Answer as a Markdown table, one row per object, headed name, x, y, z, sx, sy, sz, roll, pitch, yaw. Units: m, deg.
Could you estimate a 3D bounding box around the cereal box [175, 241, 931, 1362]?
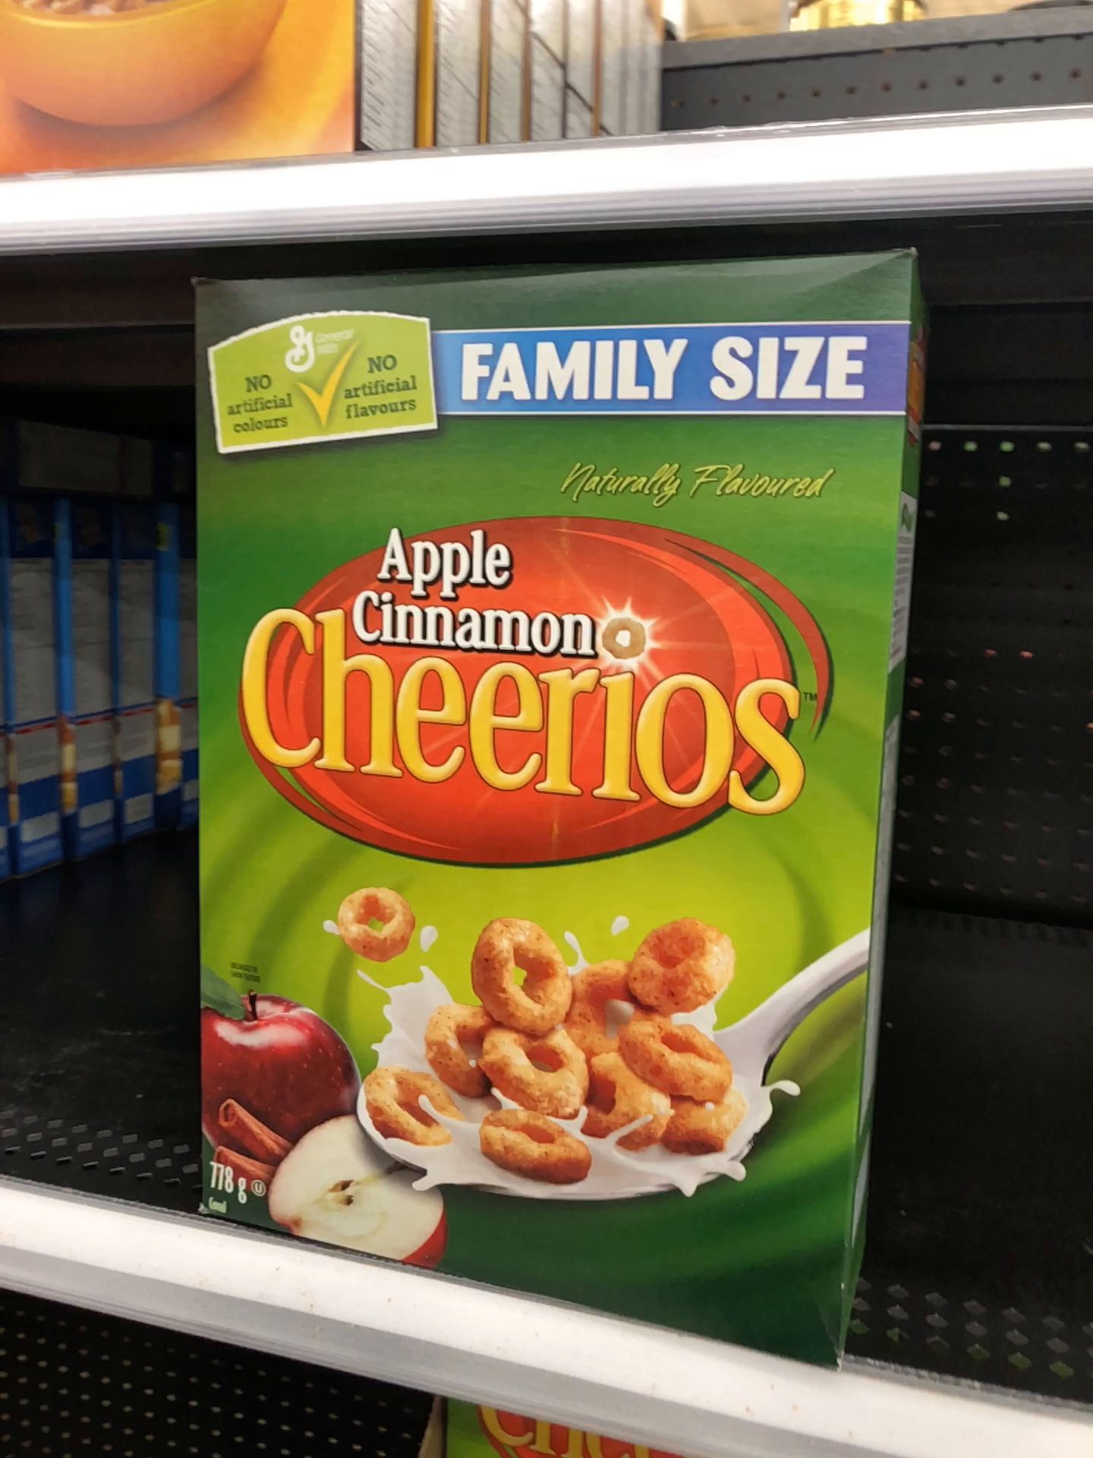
| name | x | y | z | sx | sy | sz | roll | pitch | yaw |
| --- | --- | --- | --- | --- | --- | --- | --- | --- | --- |
| cereal box | -0.003 | 0.016 | 0.425 | 0.240 | 0.329 | 0.080 | 4 | 8 | 19 |
